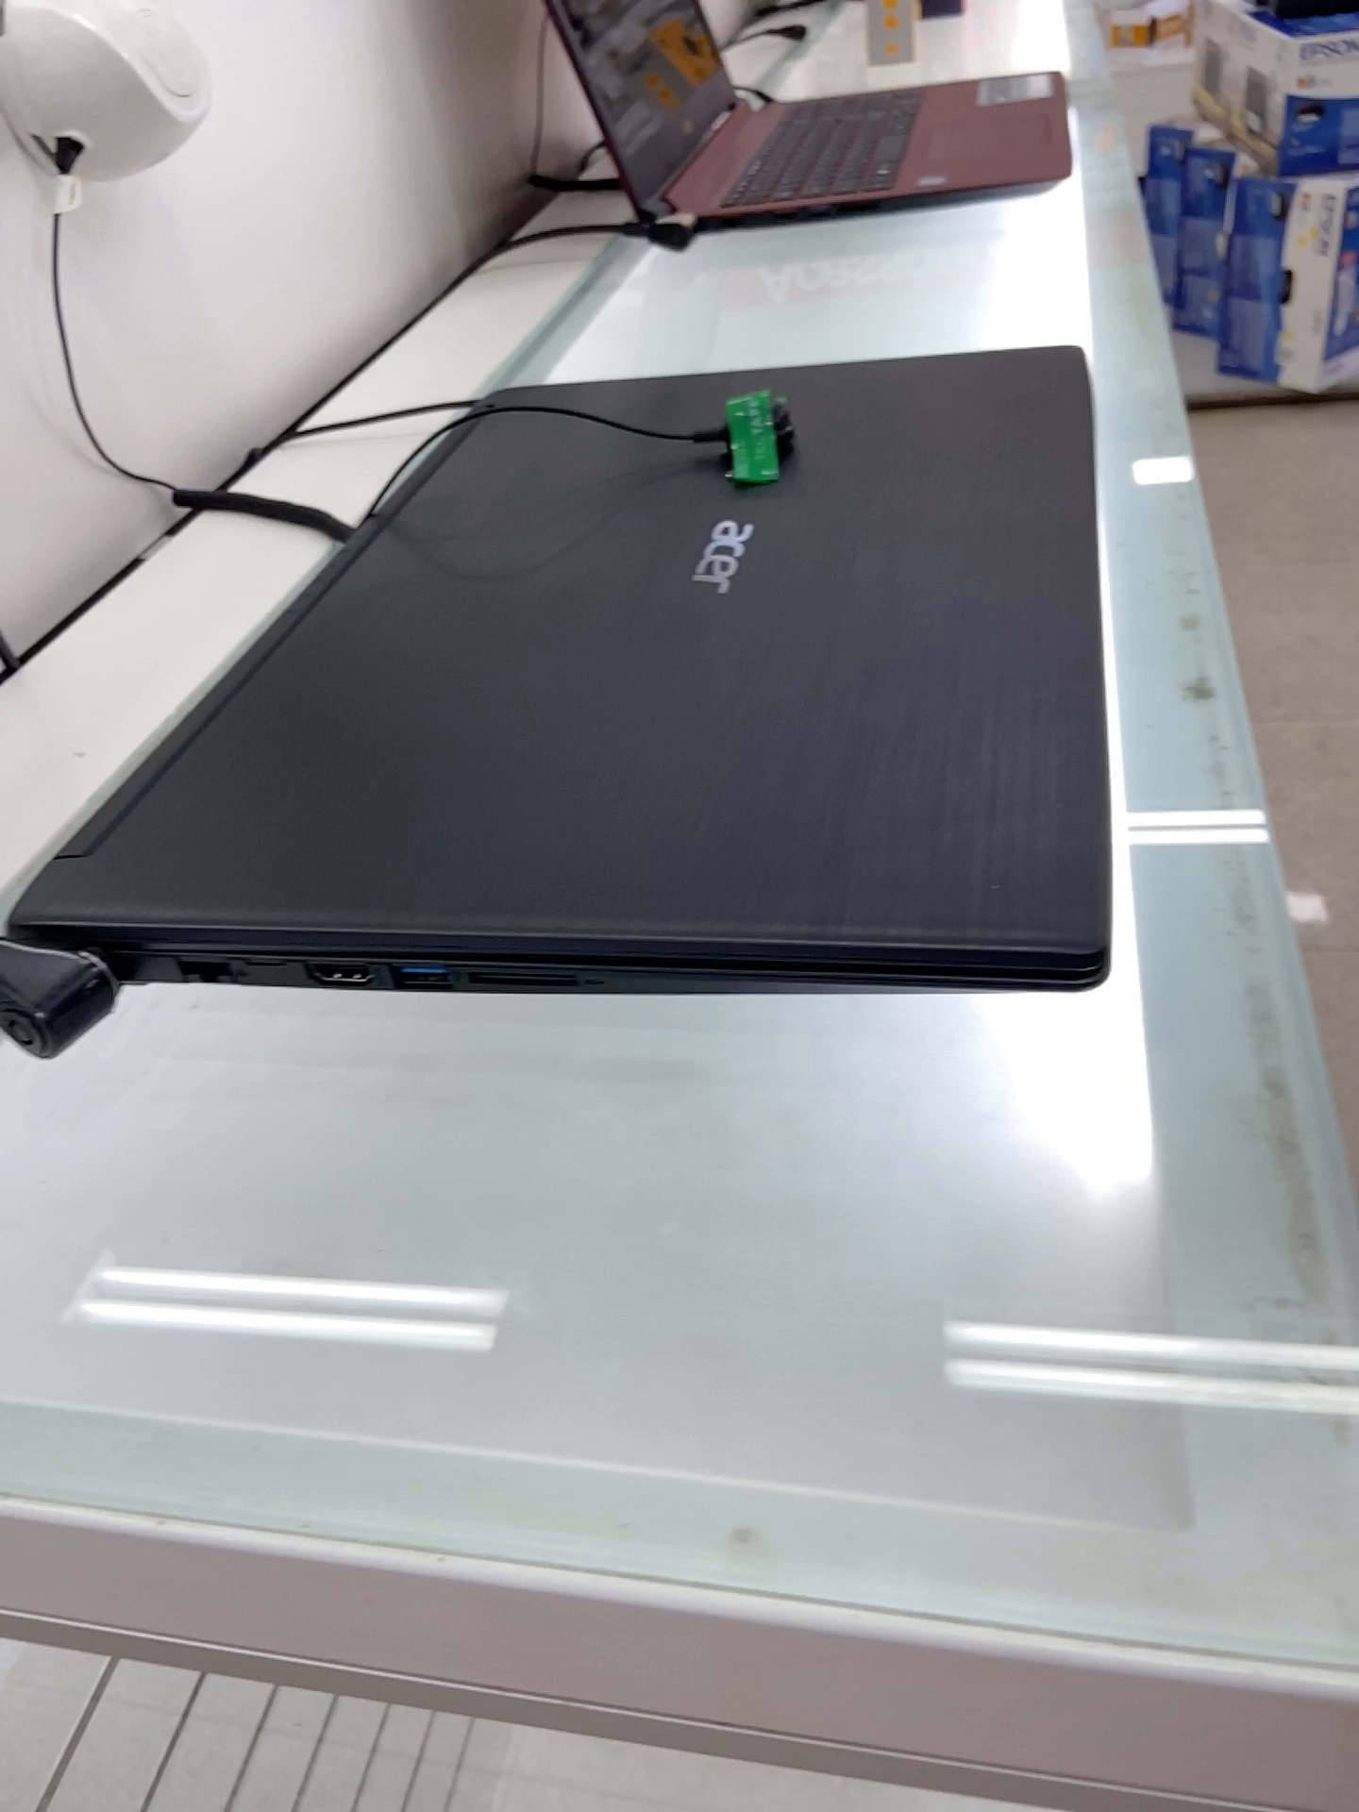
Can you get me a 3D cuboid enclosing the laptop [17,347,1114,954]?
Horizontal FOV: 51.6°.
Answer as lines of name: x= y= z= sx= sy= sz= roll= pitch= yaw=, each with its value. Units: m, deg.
laptop: x=0.001 y=-0.112 z=0.452 sx=0.247 sy=0.001 sz=0.389 roll=1 pitch=38 yaw=13
